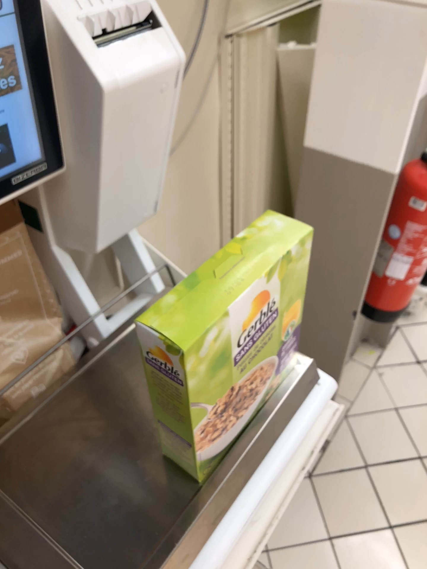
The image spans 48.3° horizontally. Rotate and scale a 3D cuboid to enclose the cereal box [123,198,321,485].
[{"bbox_3d":[0.020,0.060,0.485,0.060,0.219,0.201,28,51,28],"label":"cereal box"}]
